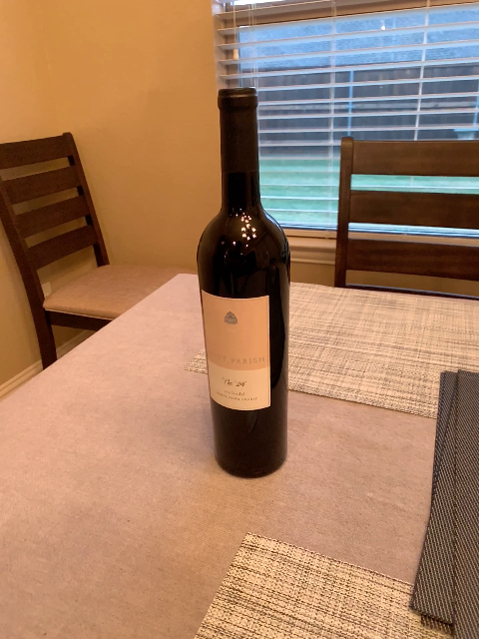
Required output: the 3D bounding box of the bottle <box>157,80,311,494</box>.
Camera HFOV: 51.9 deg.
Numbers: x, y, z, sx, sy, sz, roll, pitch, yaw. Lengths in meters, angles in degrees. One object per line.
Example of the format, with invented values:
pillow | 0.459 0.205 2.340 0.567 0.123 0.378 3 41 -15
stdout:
bottle | 0.007 -0.018 0.417 0.083 0.328 0.090 -2 24 1
